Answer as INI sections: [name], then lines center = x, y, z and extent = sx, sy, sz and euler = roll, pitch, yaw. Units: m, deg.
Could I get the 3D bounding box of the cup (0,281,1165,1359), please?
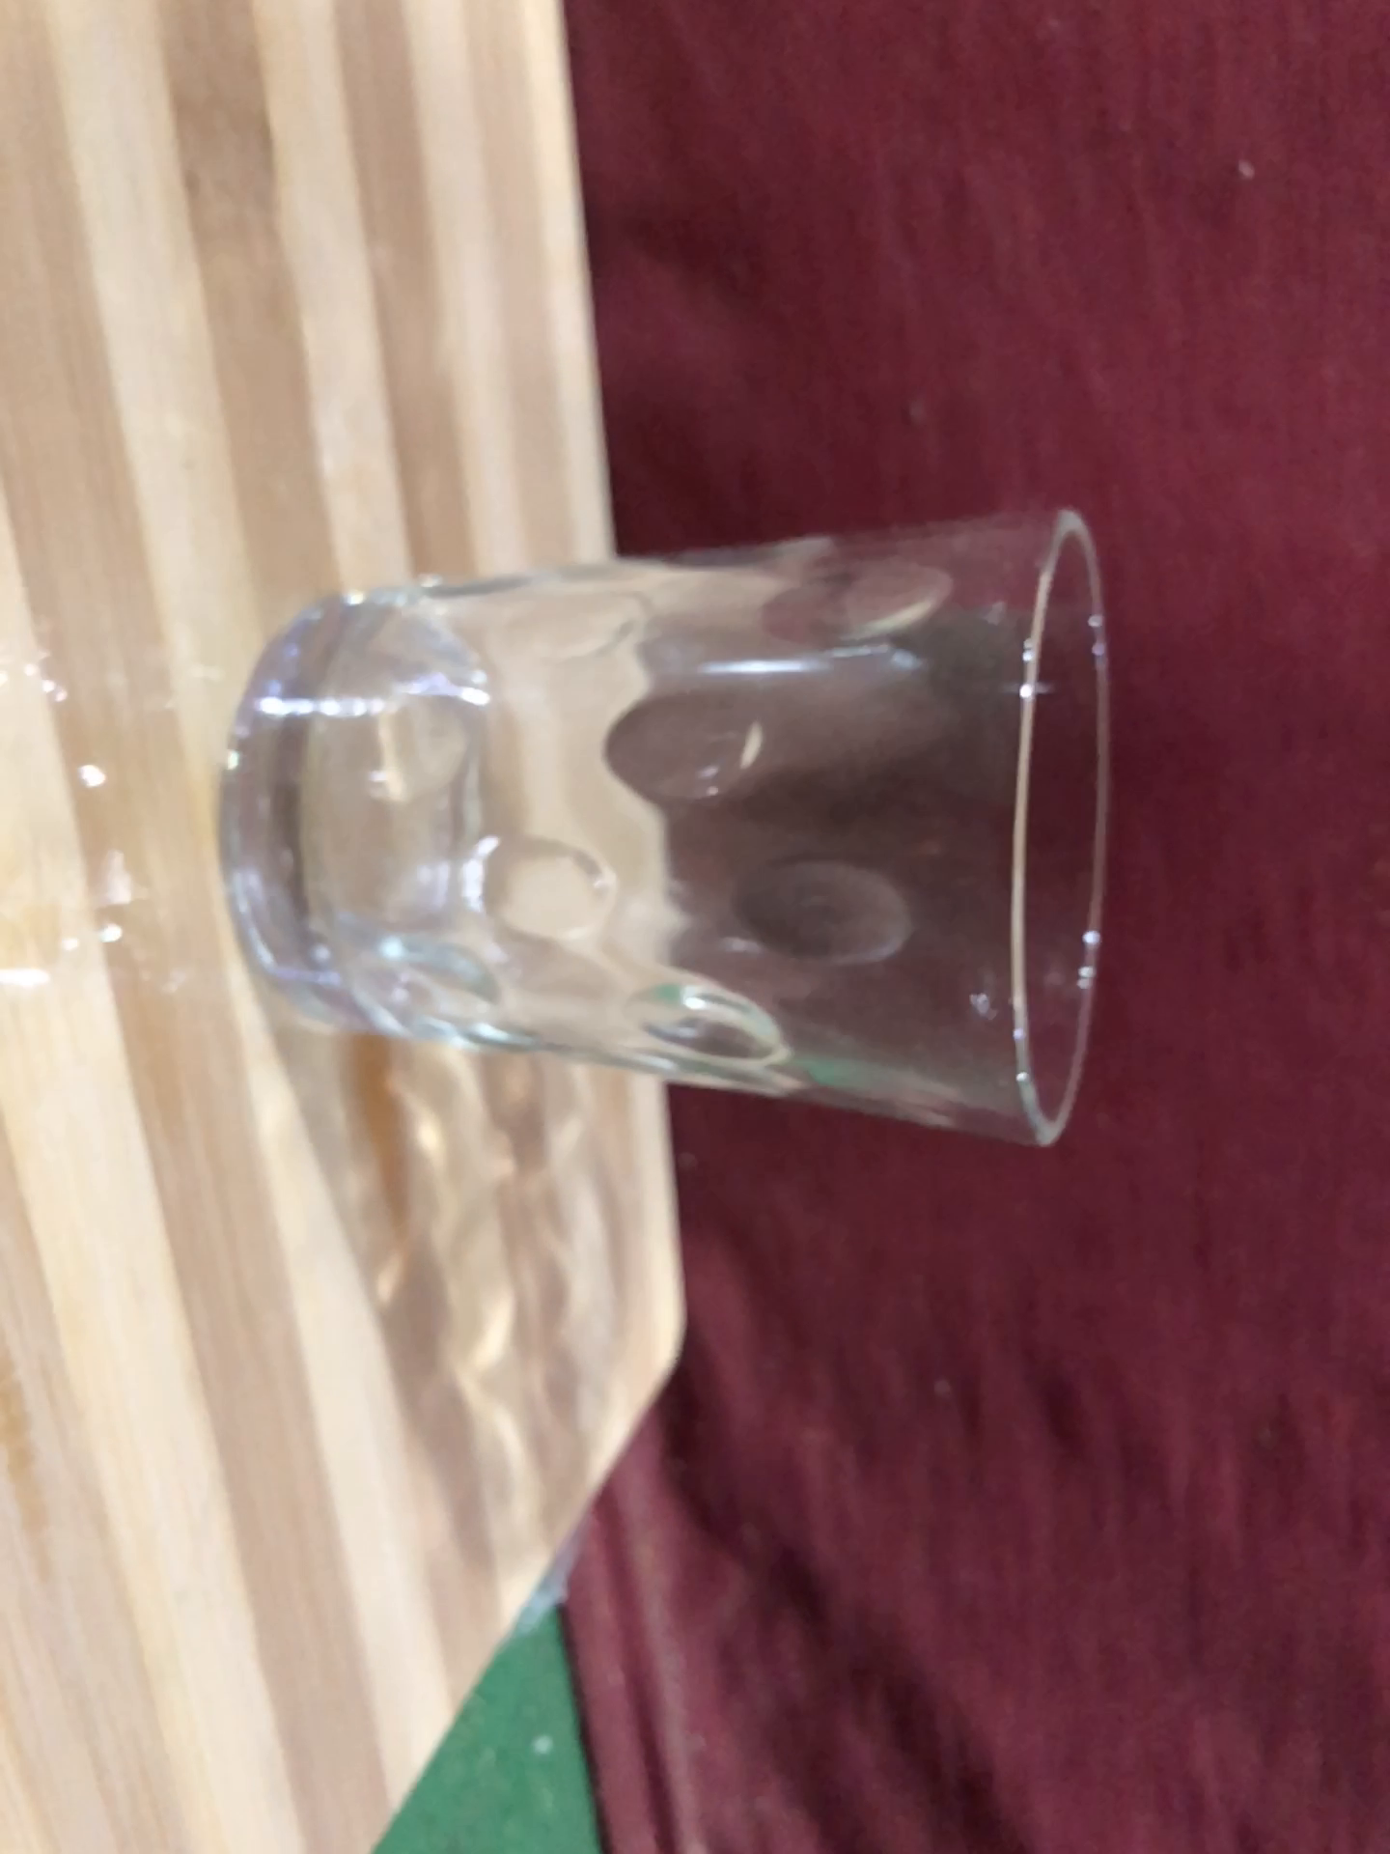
[cup]
center = 0.001, -0.010, 0.224
extent = 0.100, 0.119, 0.100
euler = 2, 90, -72
